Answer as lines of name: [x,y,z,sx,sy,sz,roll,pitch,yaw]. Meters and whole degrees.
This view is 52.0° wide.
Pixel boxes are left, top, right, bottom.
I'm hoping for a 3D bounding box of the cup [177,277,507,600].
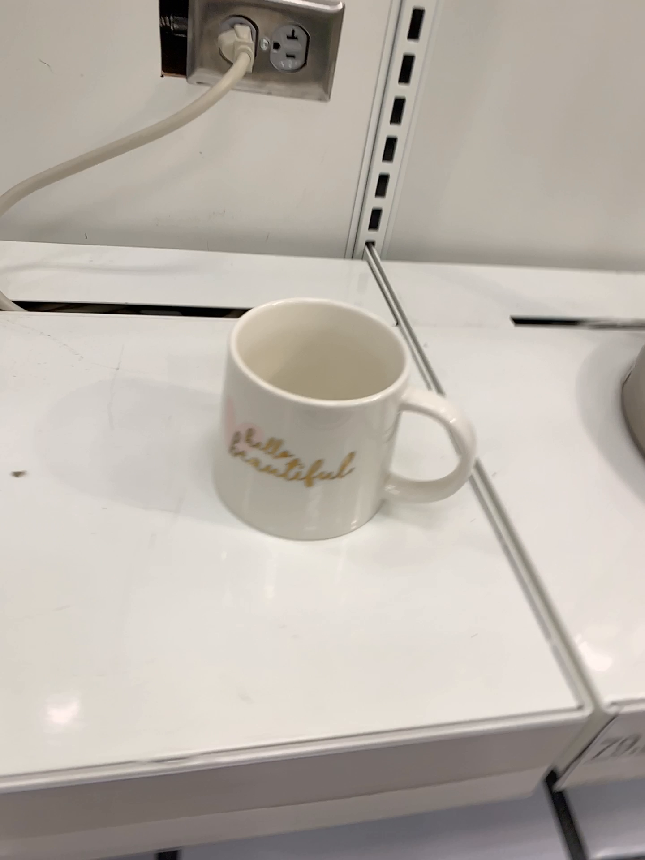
cup: [0.010,-0.001,0.367,0.140,0.097,0.105,19,42,13]
